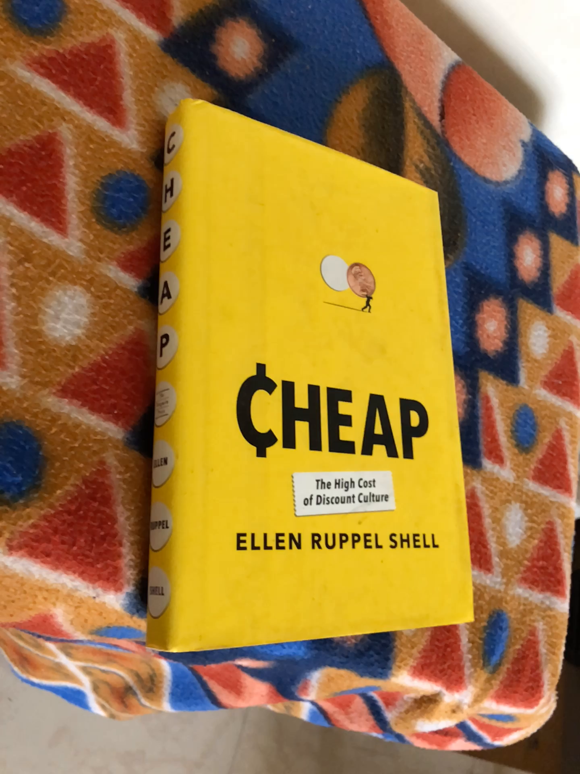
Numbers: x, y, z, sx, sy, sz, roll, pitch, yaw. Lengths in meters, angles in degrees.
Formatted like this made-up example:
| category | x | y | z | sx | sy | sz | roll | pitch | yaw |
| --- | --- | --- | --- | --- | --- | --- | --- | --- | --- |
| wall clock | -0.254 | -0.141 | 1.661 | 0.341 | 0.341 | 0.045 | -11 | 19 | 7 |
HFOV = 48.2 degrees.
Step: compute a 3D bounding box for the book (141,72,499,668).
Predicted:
| category | x | y | z | sx | sy | sz | roll | pitch | yaw |
| --- | --- | --- | --- | --- | --- | --- | --- | --- | --- |
| book | 0.020 | -0.007 | 0.310 | 0.171 | 0.030 | 0.240 | 8 | 72 | -34 |
